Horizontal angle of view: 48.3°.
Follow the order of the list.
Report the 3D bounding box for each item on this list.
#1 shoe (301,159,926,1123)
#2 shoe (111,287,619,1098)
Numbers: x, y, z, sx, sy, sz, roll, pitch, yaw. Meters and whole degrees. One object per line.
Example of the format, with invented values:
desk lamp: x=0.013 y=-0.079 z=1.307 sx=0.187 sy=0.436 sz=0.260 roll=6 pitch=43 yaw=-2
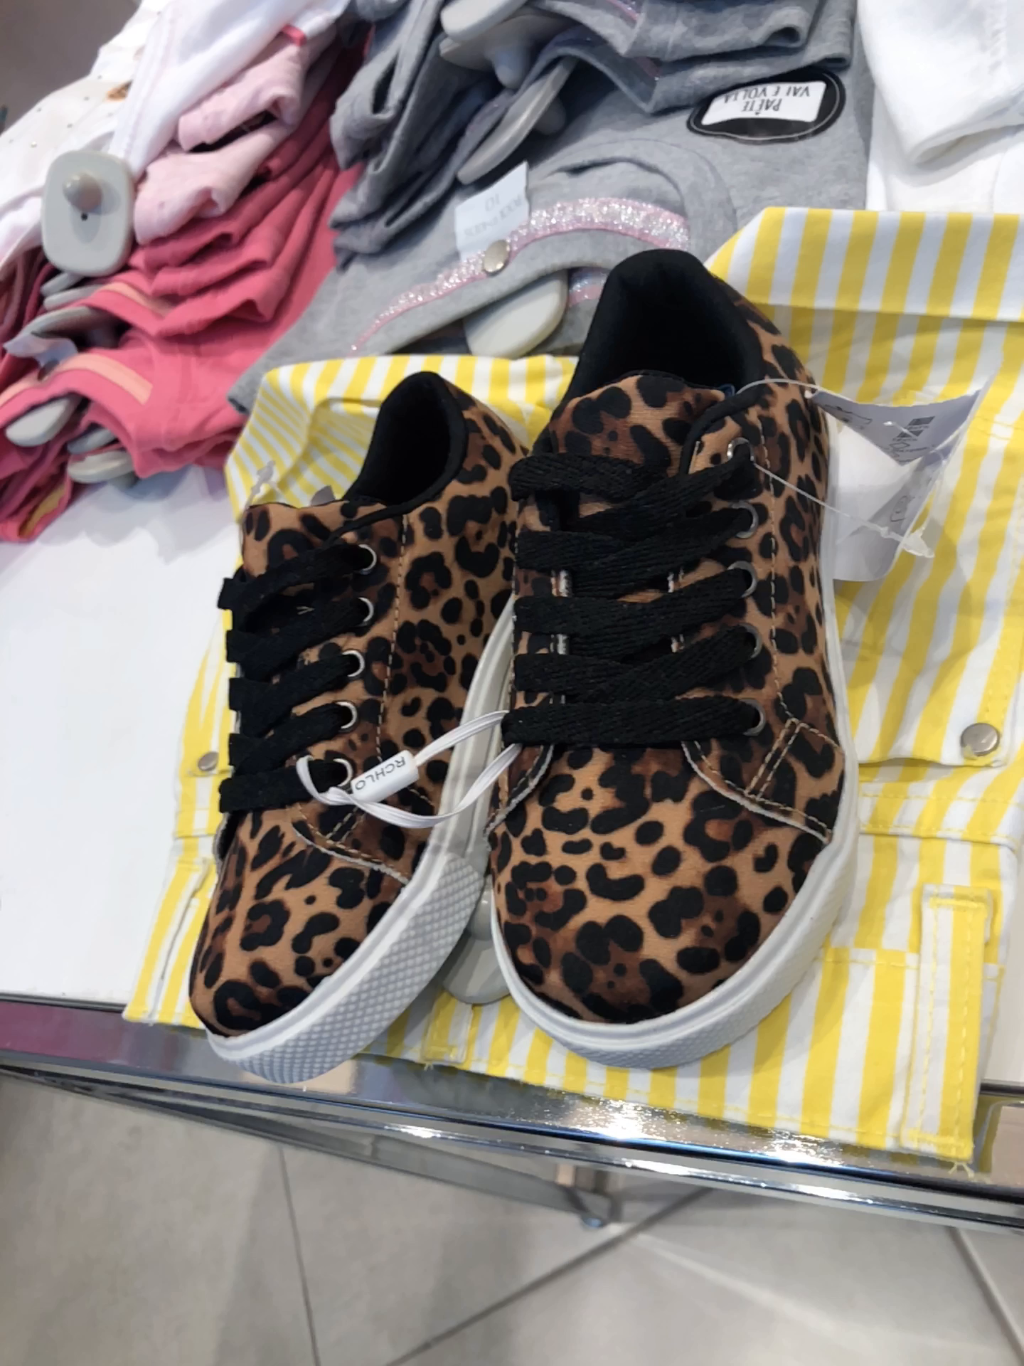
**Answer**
shoe: x=0.032 y=-0.007 z=0.244 sx=0.080 sy=0.080 sz=0.170 roll=-2 pitch=65 yaw=32
shoe: x=-0.033 y=0.005 z=0.280 sx=0.080 sy=0.060 sz=0.170 roll=-24 pitch=49 yaw=55
